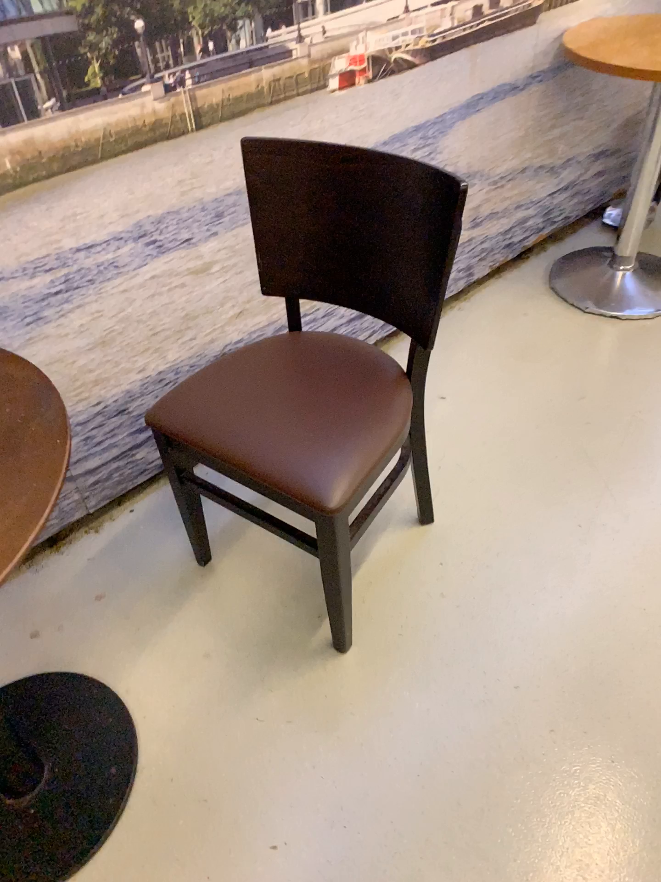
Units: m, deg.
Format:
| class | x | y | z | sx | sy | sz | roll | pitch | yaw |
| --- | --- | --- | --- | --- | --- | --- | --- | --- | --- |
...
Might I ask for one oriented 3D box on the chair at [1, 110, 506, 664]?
| class | x | y | z | sx | sy | sz | roll | pitch | yaw |
| --- | --- | --- | --- | --- | --- | --- | --- | --- | --- |
| chair | -0.084 | -0.117 | 1.248 | 0.560 | 0.729 | 0.520 | 23 | 48 | 27 |
